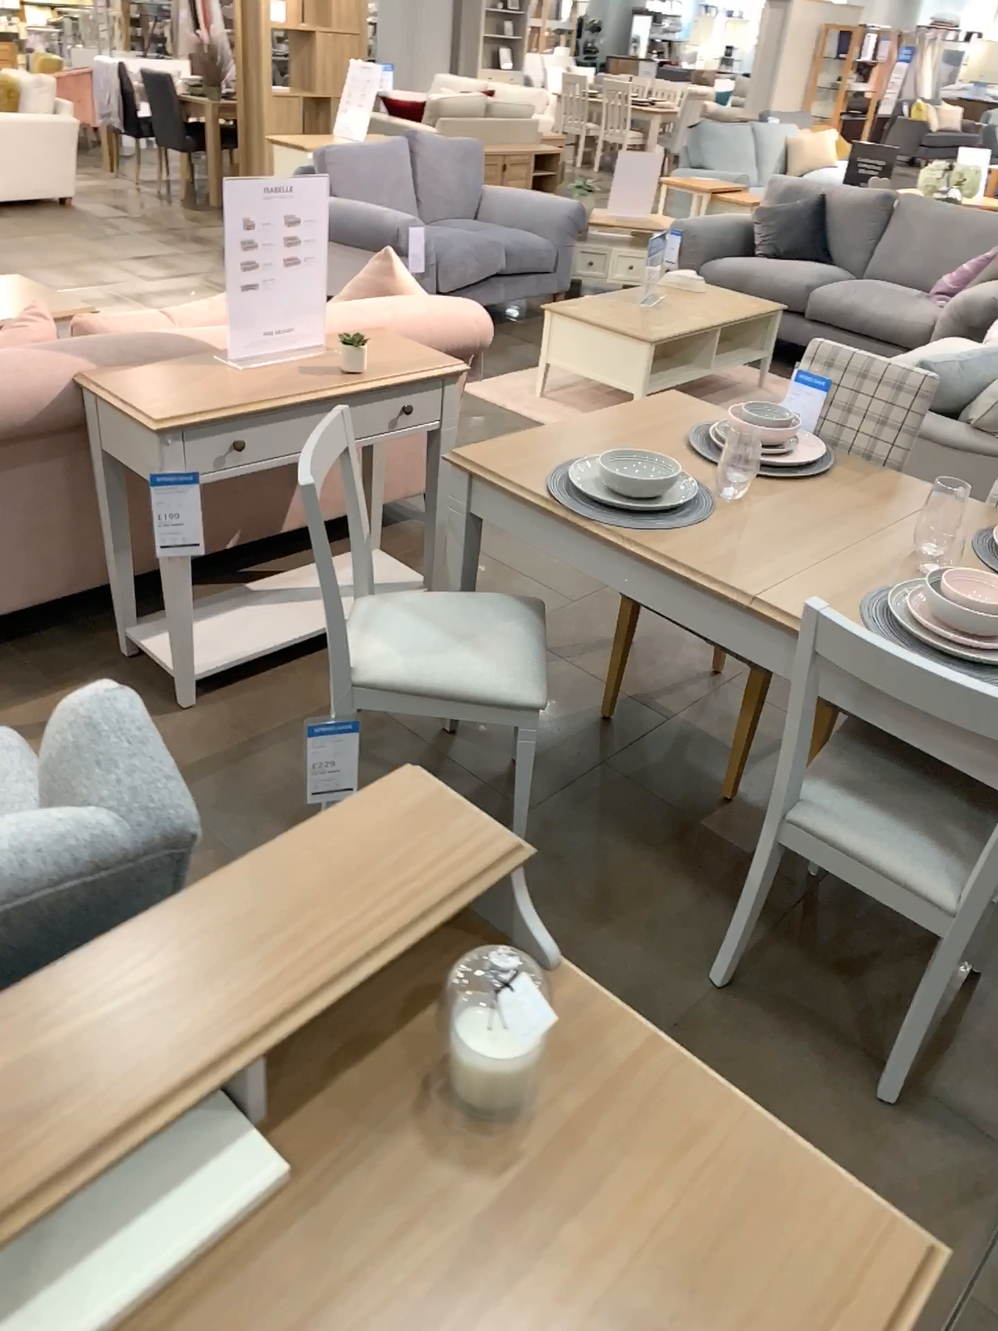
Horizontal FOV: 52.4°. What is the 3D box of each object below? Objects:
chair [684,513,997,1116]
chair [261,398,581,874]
[{"bbox_3d":[0.737,0.244,1.817,0.432,0.817,0.537,30,39,32],"label":"chair"},{"bbox_3d":[-0.164,-0.054,2.098,0.534,0.817,0.465,5,32,-2],"label":"chair"}]
